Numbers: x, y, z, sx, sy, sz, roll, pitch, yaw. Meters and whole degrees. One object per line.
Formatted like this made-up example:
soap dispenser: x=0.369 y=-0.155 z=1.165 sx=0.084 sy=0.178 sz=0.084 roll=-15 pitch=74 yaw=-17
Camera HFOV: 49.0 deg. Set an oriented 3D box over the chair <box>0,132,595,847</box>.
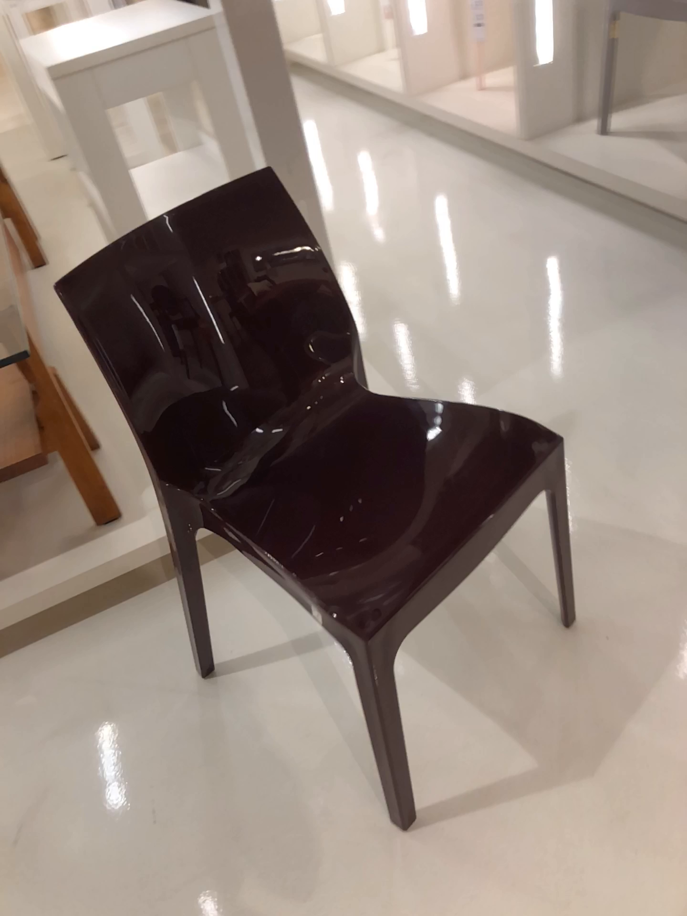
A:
chair: x=-0.009 y=0.028 z=1.170 sx=0.562 sy=0.814 sz=0.532 roll=25 pitch=53 yaw=38
